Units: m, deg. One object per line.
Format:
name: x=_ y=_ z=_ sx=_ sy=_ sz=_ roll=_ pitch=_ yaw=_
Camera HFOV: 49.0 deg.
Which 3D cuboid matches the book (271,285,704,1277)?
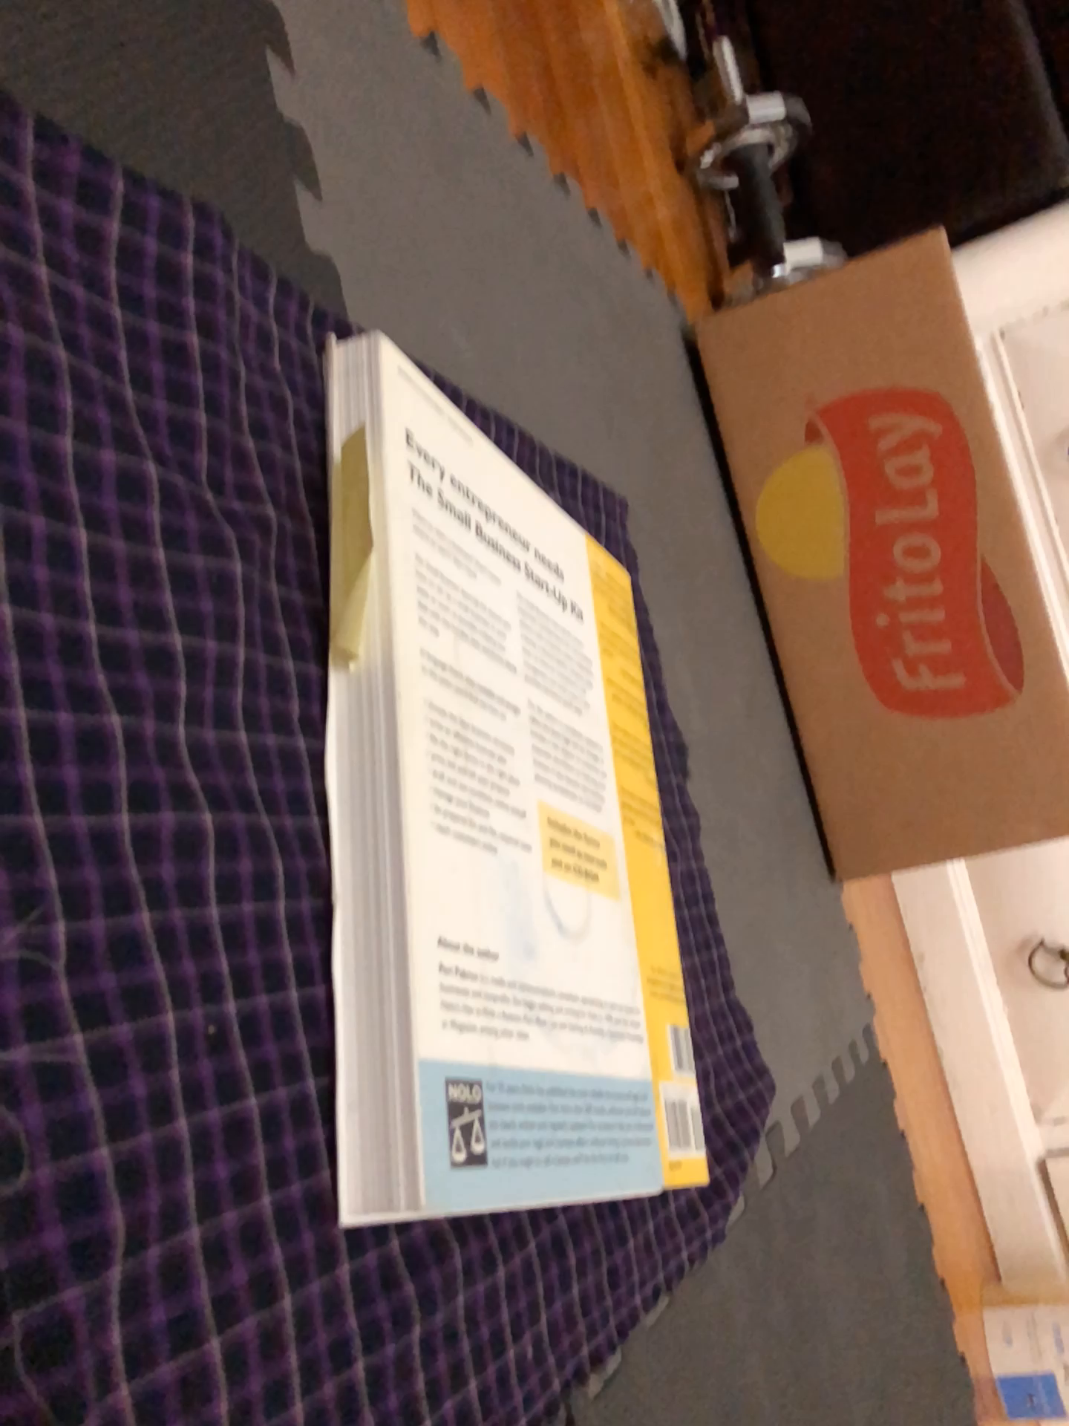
book: x=-0.013 y=0.032 z=0.449 sx=0.231 sy=0.030 sz=0.310 roll=33 pitch=45 yaw=-56
